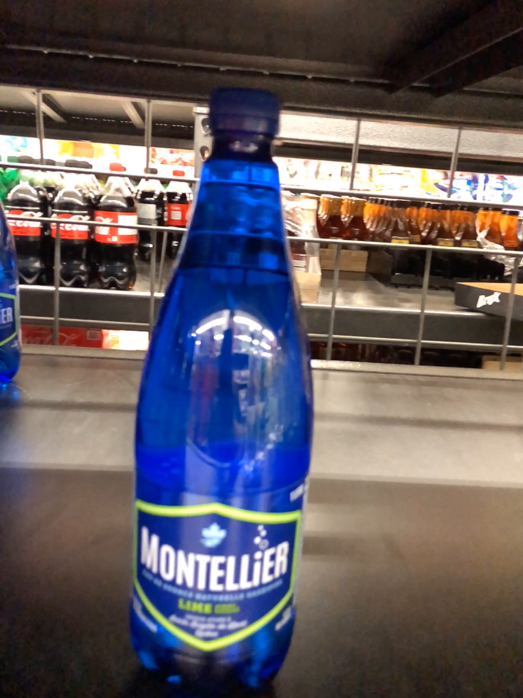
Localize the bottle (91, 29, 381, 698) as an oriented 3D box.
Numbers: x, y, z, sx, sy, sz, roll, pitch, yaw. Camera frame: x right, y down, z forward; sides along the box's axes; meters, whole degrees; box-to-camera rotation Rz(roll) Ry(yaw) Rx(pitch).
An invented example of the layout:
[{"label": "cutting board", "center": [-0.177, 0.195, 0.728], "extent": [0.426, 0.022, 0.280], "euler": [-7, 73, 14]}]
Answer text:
[{"label": "bottle", "center": [-0.019, 0.020, 0.278], "extent": [0.100, 0.289, 0.090], "euler": [4, 15, -2]}]
